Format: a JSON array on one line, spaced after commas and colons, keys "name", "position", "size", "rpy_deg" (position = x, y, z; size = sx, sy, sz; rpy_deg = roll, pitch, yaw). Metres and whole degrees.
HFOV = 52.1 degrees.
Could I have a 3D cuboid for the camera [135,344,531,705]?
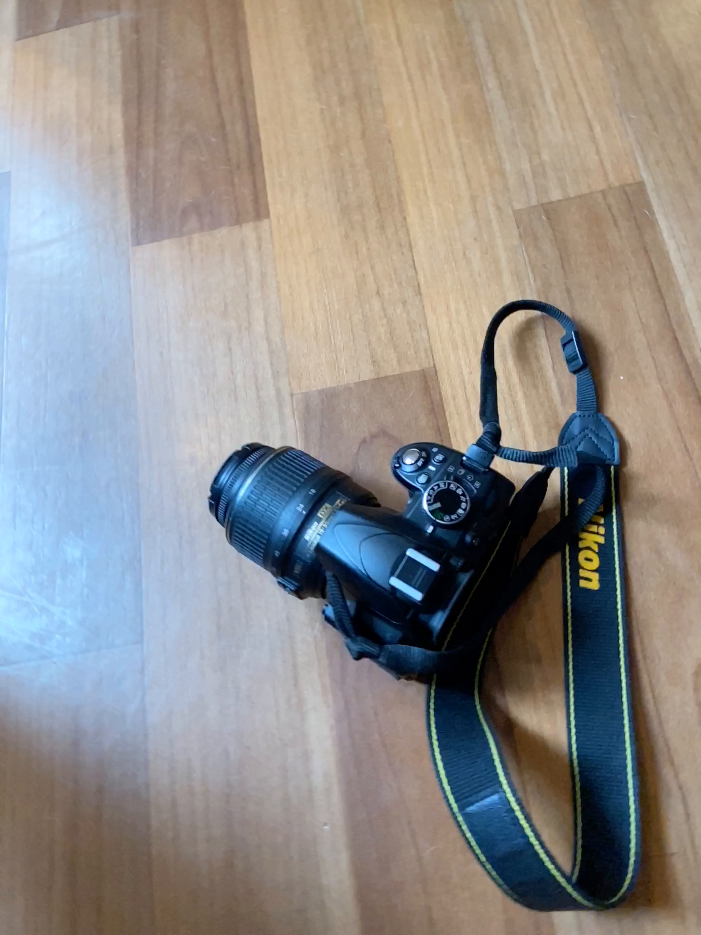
[{"name": "camera", "position": [-0.005, 0.033, 0.402], "size": [0.161, 0.090, 0.121], "rpy_deg": [29, 77, 17]}]
